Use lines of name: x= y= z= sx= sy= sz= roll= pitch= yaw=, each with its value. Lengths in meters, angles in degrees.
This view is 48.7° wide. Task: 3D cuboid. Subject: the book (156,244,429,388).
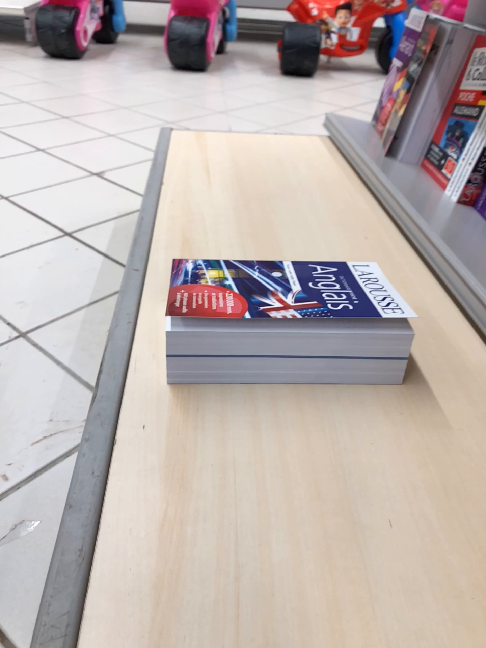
book: x=0.030 y=-0.010 z=0.415 sx=0.181 sy=0.054 sz=0.118 roll=0 pitch=34 yaw=-4
